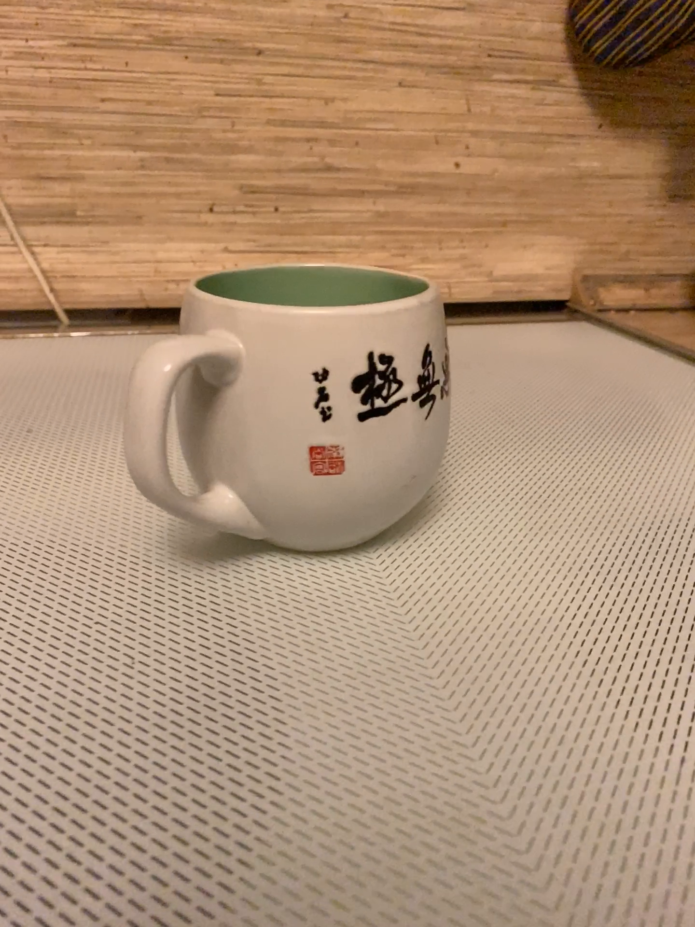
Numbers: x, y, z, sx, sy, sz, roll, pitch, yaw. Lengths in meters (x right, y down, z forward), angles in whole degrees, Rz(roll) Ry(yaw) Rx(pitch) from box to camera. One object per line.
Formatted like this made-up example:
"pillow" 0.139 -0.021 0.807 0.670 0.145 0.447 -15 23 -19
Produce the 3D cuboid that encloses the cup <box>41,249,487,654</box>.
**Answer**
"cup" -0.019 -0.019 0.252 0.088 0.091 0.124 14 25 27
